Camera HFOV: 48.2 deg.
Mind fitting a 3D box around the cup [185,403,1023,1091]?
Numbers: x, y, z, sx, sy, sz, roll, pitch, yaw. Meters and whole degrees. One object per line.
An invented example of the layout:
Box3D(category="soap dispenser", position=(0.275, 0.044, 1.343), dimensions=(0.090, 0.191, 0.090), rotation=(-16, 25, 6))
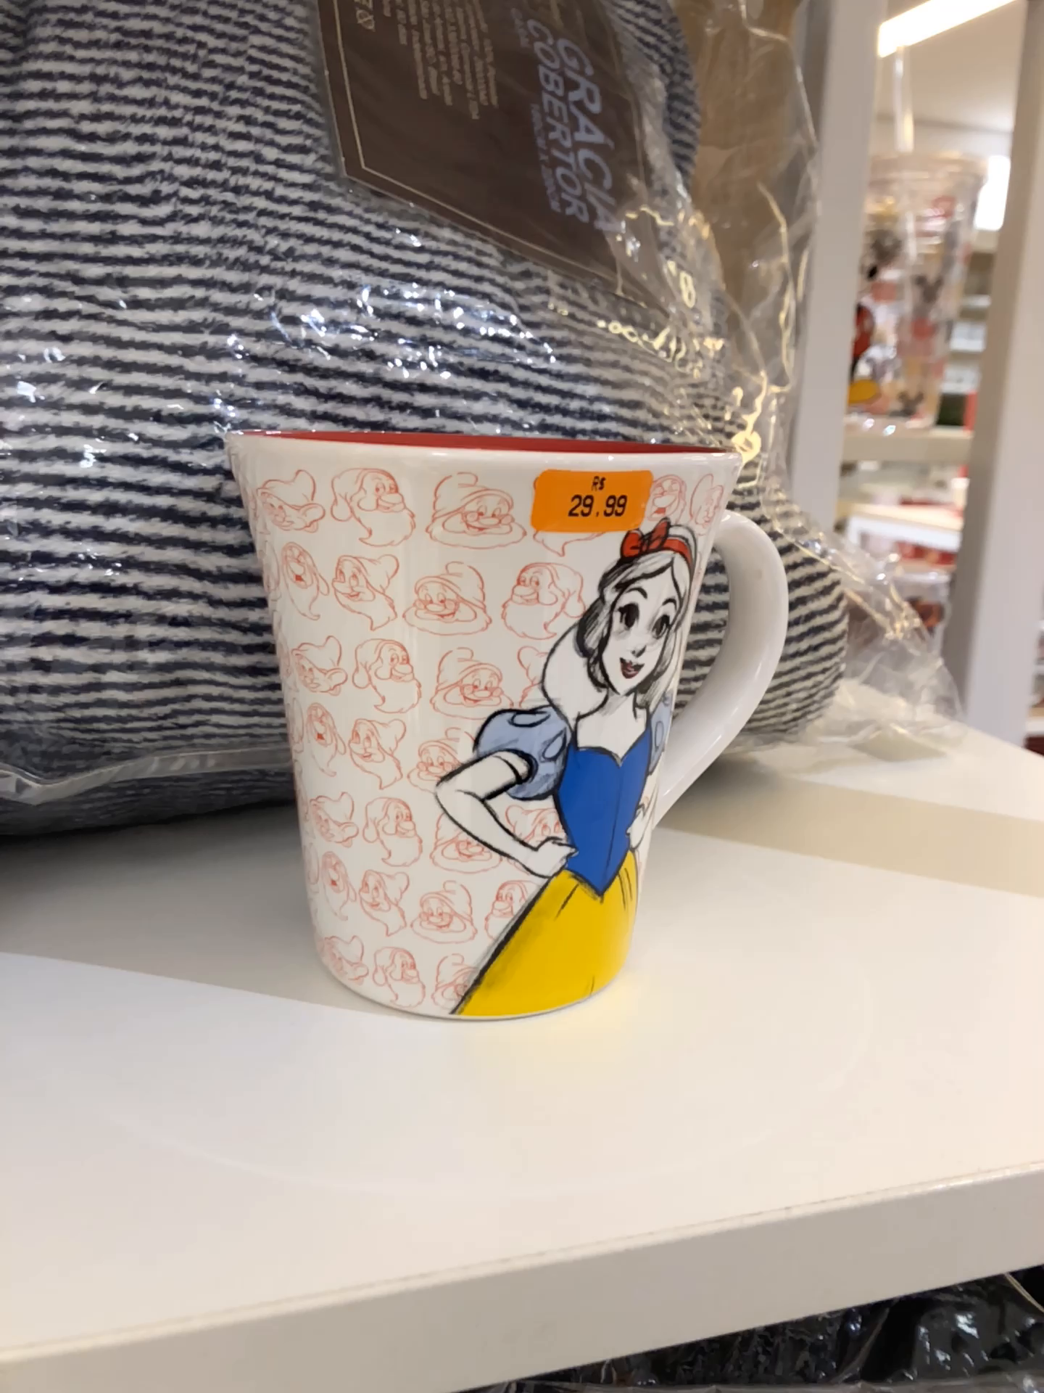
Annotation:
Box3D(category="cup", position=(0.012, -0.006, 0.219), dimensions=(0.120, 0.090, 0.090), rotation=(-7, 17, -33))

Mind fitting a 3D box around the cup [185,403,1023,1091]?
Box3D(category="cup", position=(0.012, -0.006, 0.219), dimensions=(0.120, 0.090, 0.090), rotation=(-7, 17, -33))
